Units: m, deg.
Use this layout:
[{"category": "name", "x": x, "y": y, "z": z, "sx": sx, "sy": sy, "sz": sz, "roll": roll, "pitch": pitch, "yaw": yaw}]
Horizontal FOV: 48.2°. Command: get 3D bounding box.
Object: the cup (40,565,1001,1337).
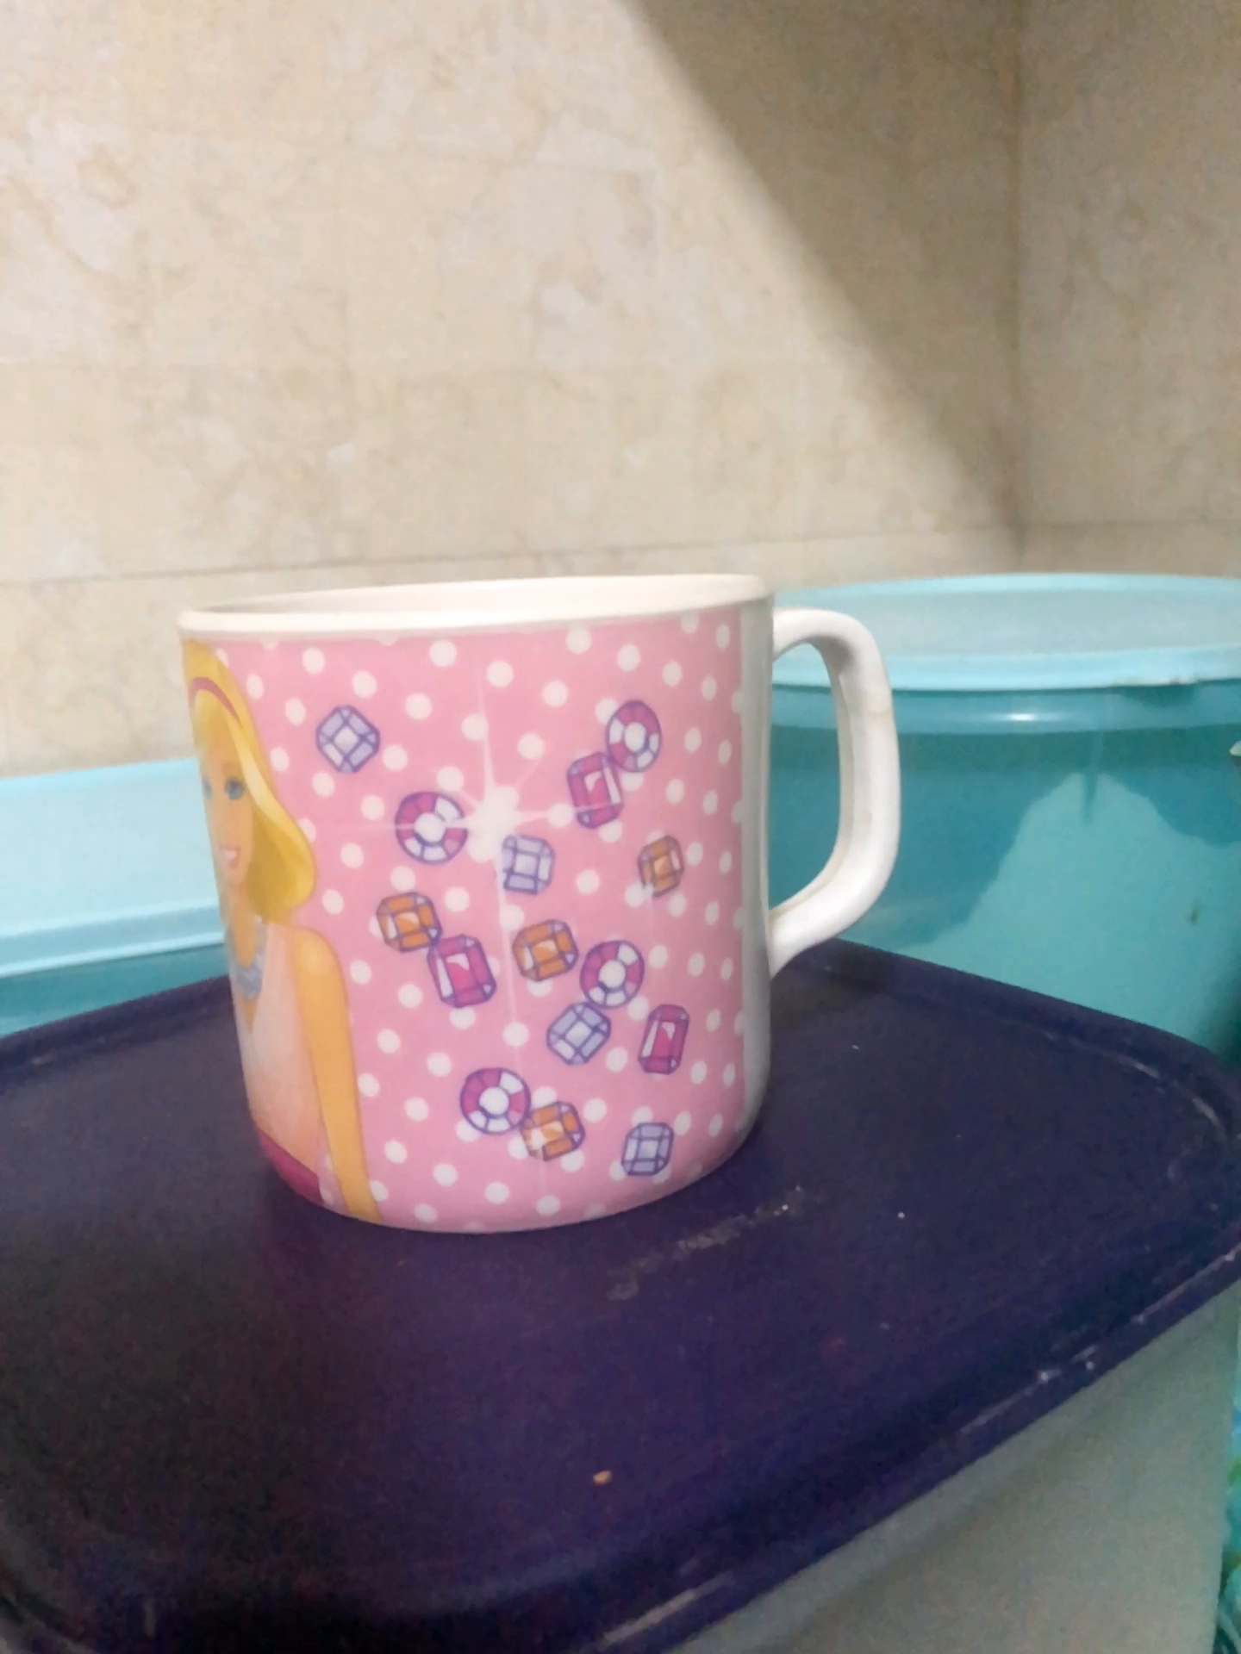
[{"category": "cup", "x": -0.013, "y": 0.003, "z": 0.216, "sx": 0.120, "sy": 0.080, "sz": 0.080, "roll": -11, "pitch": 15, "yaw": -34}]
